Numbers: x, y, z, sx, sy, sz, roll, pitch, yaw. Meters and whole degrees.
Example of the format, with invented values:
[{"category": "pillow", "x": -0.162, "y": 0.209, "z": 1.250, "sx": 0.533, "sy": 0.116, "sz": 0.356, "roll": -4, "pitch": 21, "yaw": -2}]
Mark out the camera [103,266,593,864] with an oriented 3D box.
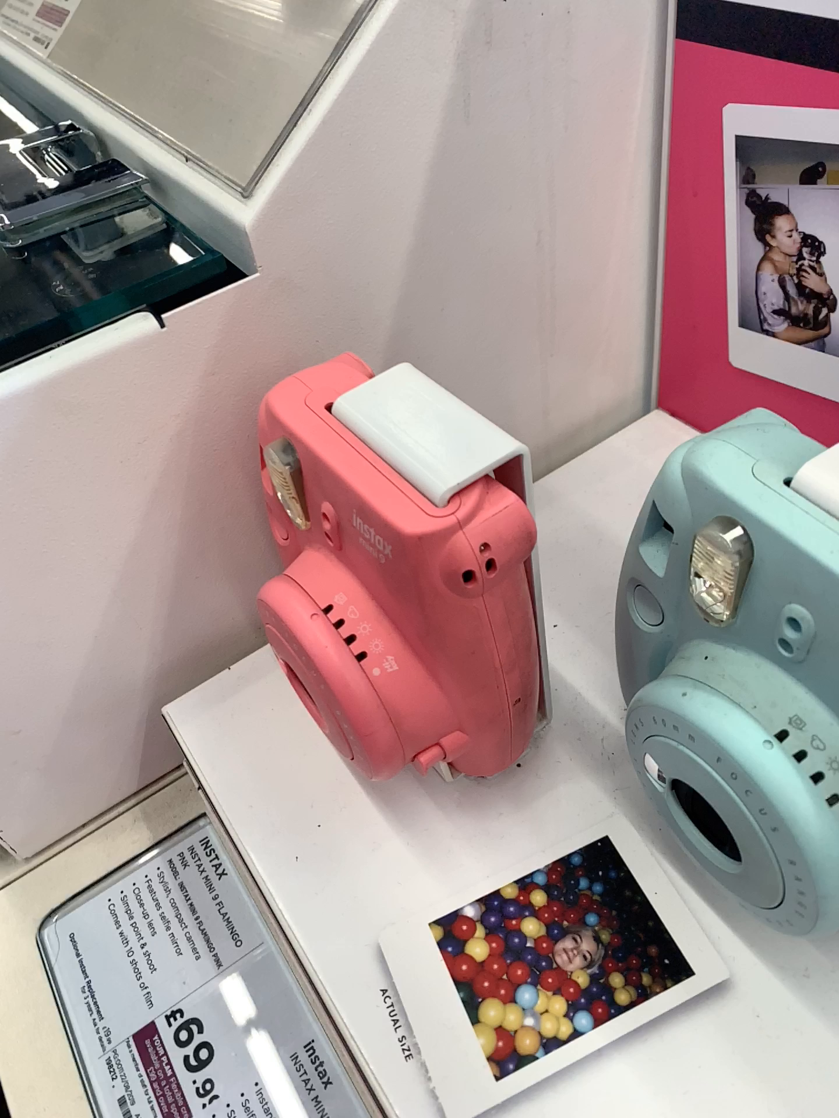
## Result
[{"category": "camera", "x": -0.018, "y": -0.001, "z": 0.270, "sx": 0.080, "sy": 0.119, "sz": 0.121, "roll": -31, "pitch": 48, "yaw": -17}]
